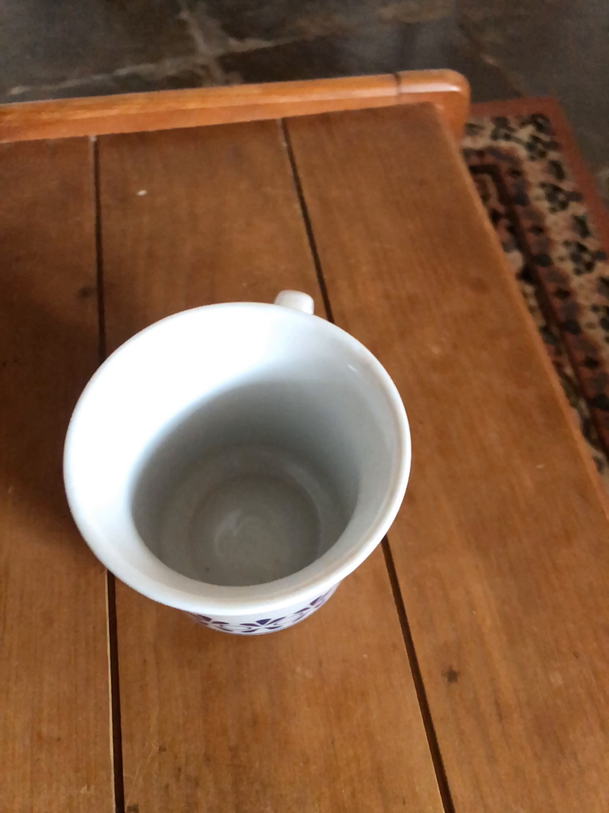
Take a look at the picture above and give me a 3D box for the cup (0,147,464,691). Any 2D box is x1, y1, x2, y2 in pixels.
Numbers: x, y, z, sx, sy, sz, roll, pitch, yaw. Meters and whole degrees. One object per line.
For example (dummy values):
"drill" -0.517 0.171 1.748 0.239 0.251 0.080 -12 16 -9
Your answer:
"cup" -0.016 0.004 0.213 0.100 0.080 0.131 11 61 4
